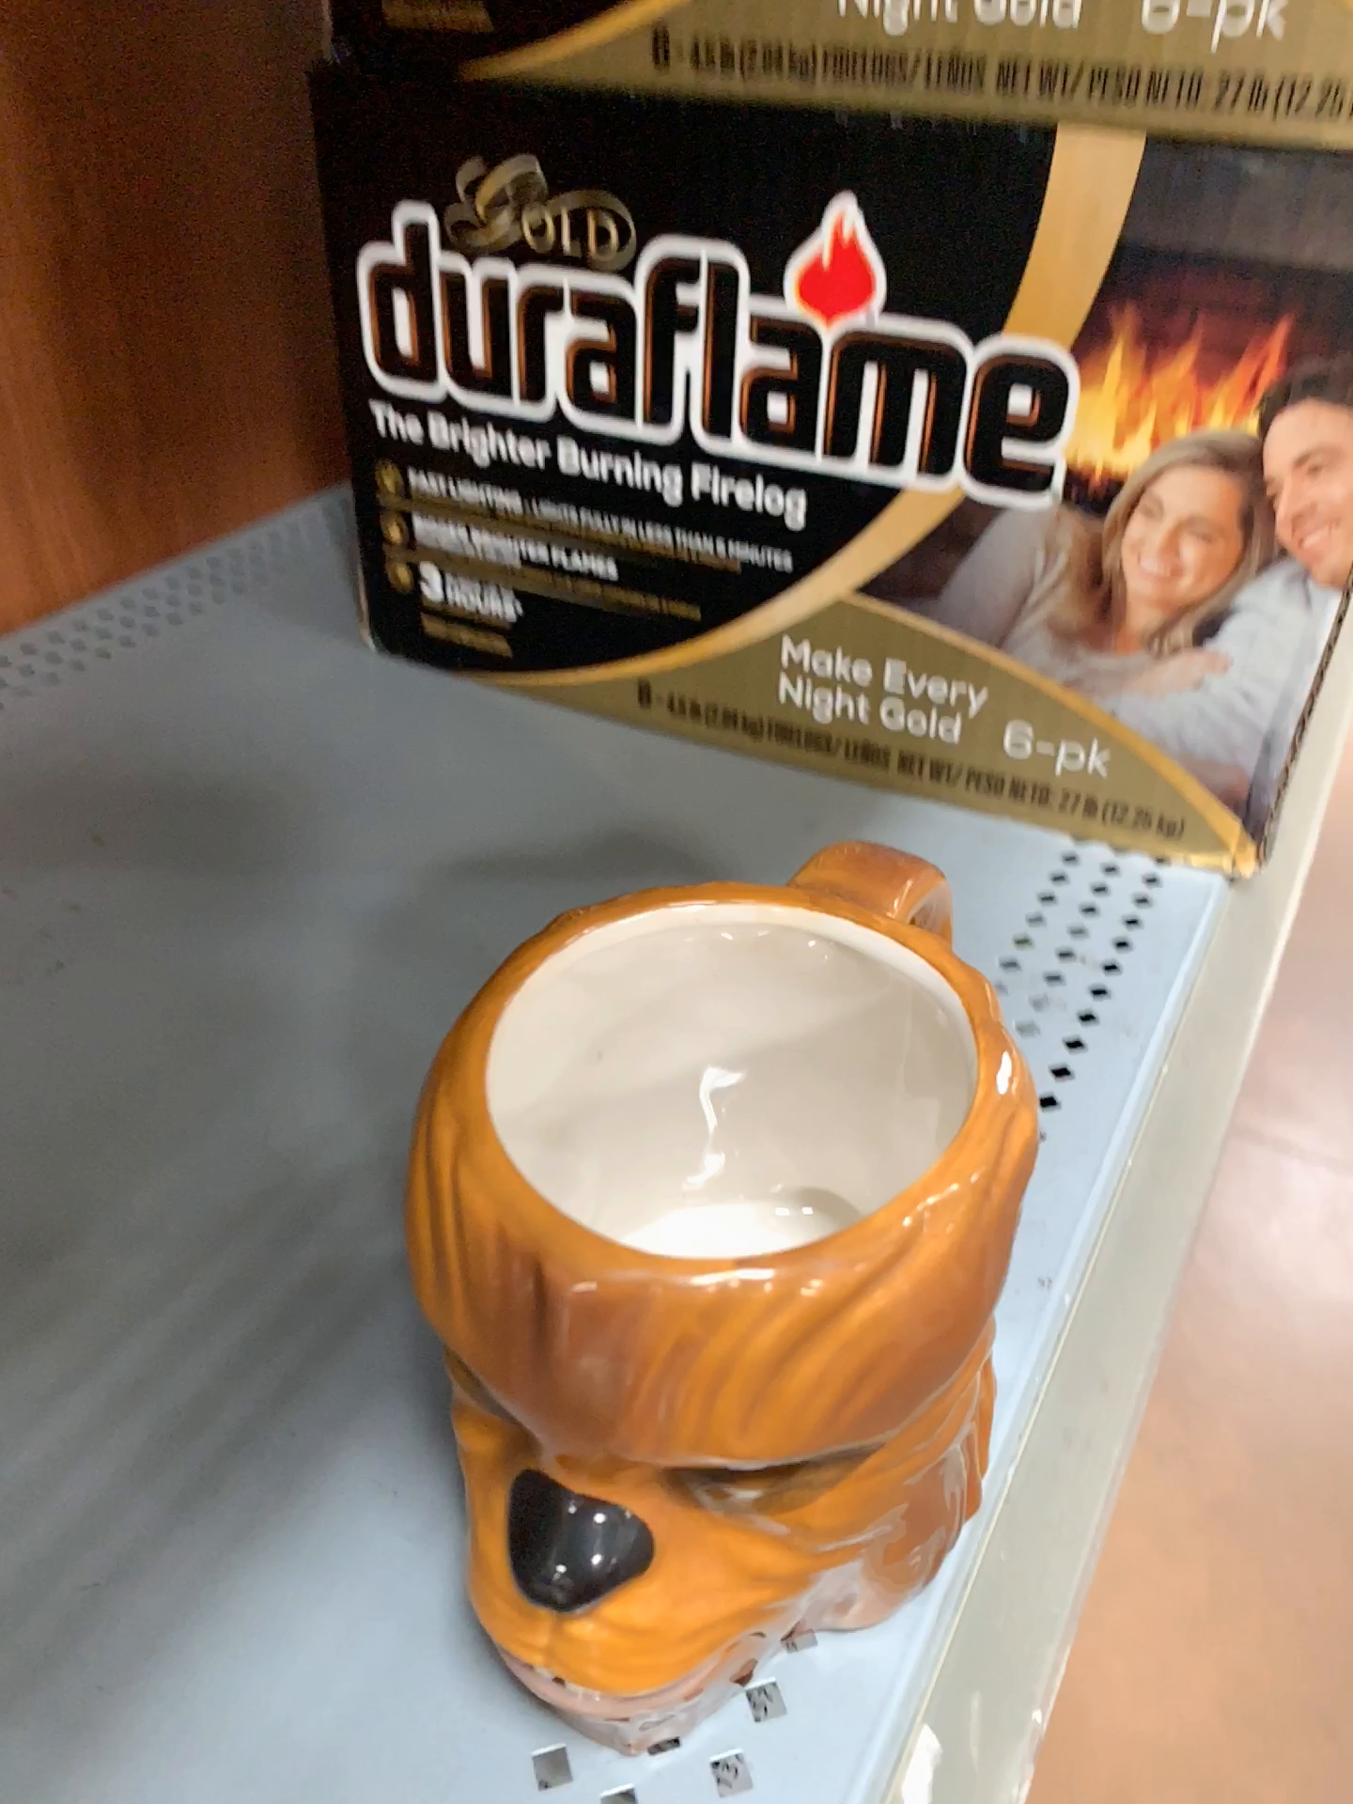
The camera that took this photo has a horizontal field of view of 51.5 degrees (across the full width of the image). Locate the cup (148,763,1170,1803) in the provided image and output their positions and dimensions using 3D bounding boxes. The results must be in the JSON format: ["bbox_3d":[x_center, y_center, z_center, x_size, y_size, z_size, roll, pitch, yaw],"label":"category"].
[{"bbox_3d":[0.006,0.077,0.245,0.097,0.138,0.132,19,39,23],"label":"cup"}]
